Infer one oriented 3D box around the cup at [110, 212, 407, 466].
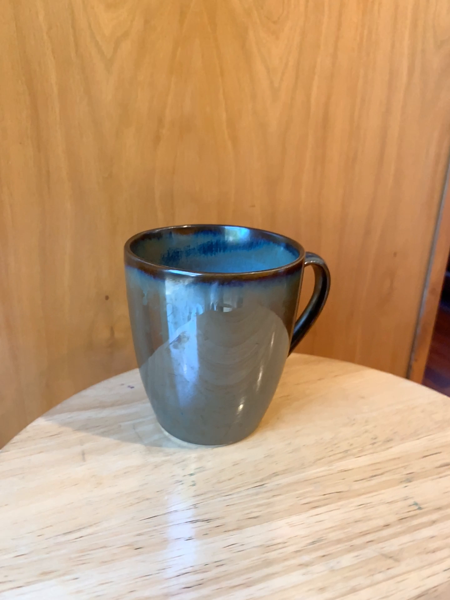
[{"bbox_3d":[0.010,0.009,0.243,0.120,0.090,0.080,-6,23,-21],"label":"cup"}]
